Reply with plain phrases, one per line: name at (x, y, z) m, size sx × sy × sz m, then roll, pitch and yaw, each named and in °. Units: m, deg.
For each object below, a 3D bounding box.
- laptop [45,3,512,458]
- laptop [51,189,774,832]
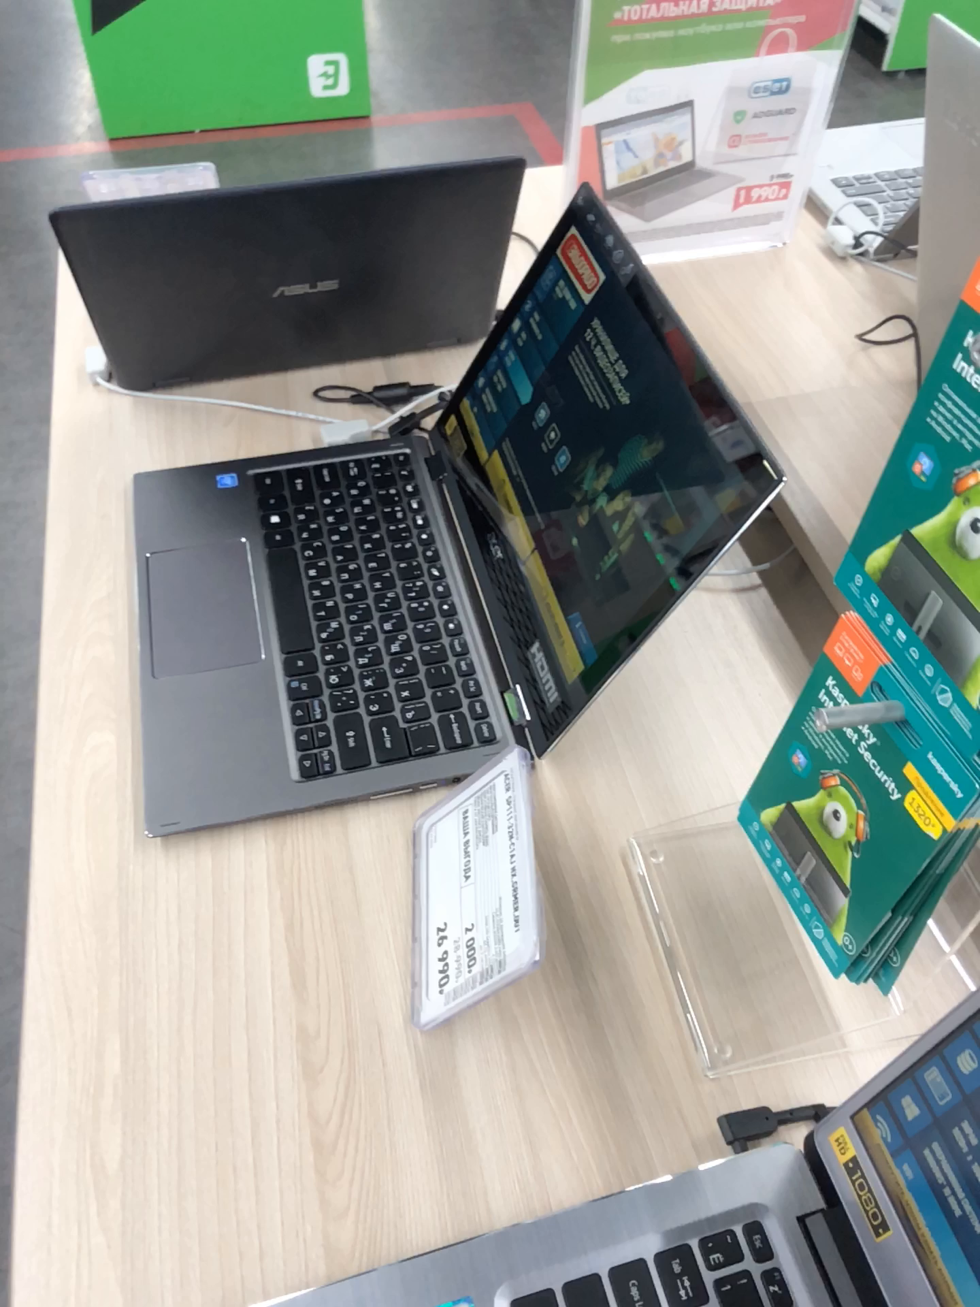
laptop at (-0.154, -0.322, 0.794) m, size 0.275 × 0.174 × 0.288 m, roll -10°, pitch 49°, yaw -10°
laptop at (-0.058, -0.097, 0.599) m, size 0.303 × 0.168 × 0.288 m, roll -10°, pitch 49°, yaw -10°
